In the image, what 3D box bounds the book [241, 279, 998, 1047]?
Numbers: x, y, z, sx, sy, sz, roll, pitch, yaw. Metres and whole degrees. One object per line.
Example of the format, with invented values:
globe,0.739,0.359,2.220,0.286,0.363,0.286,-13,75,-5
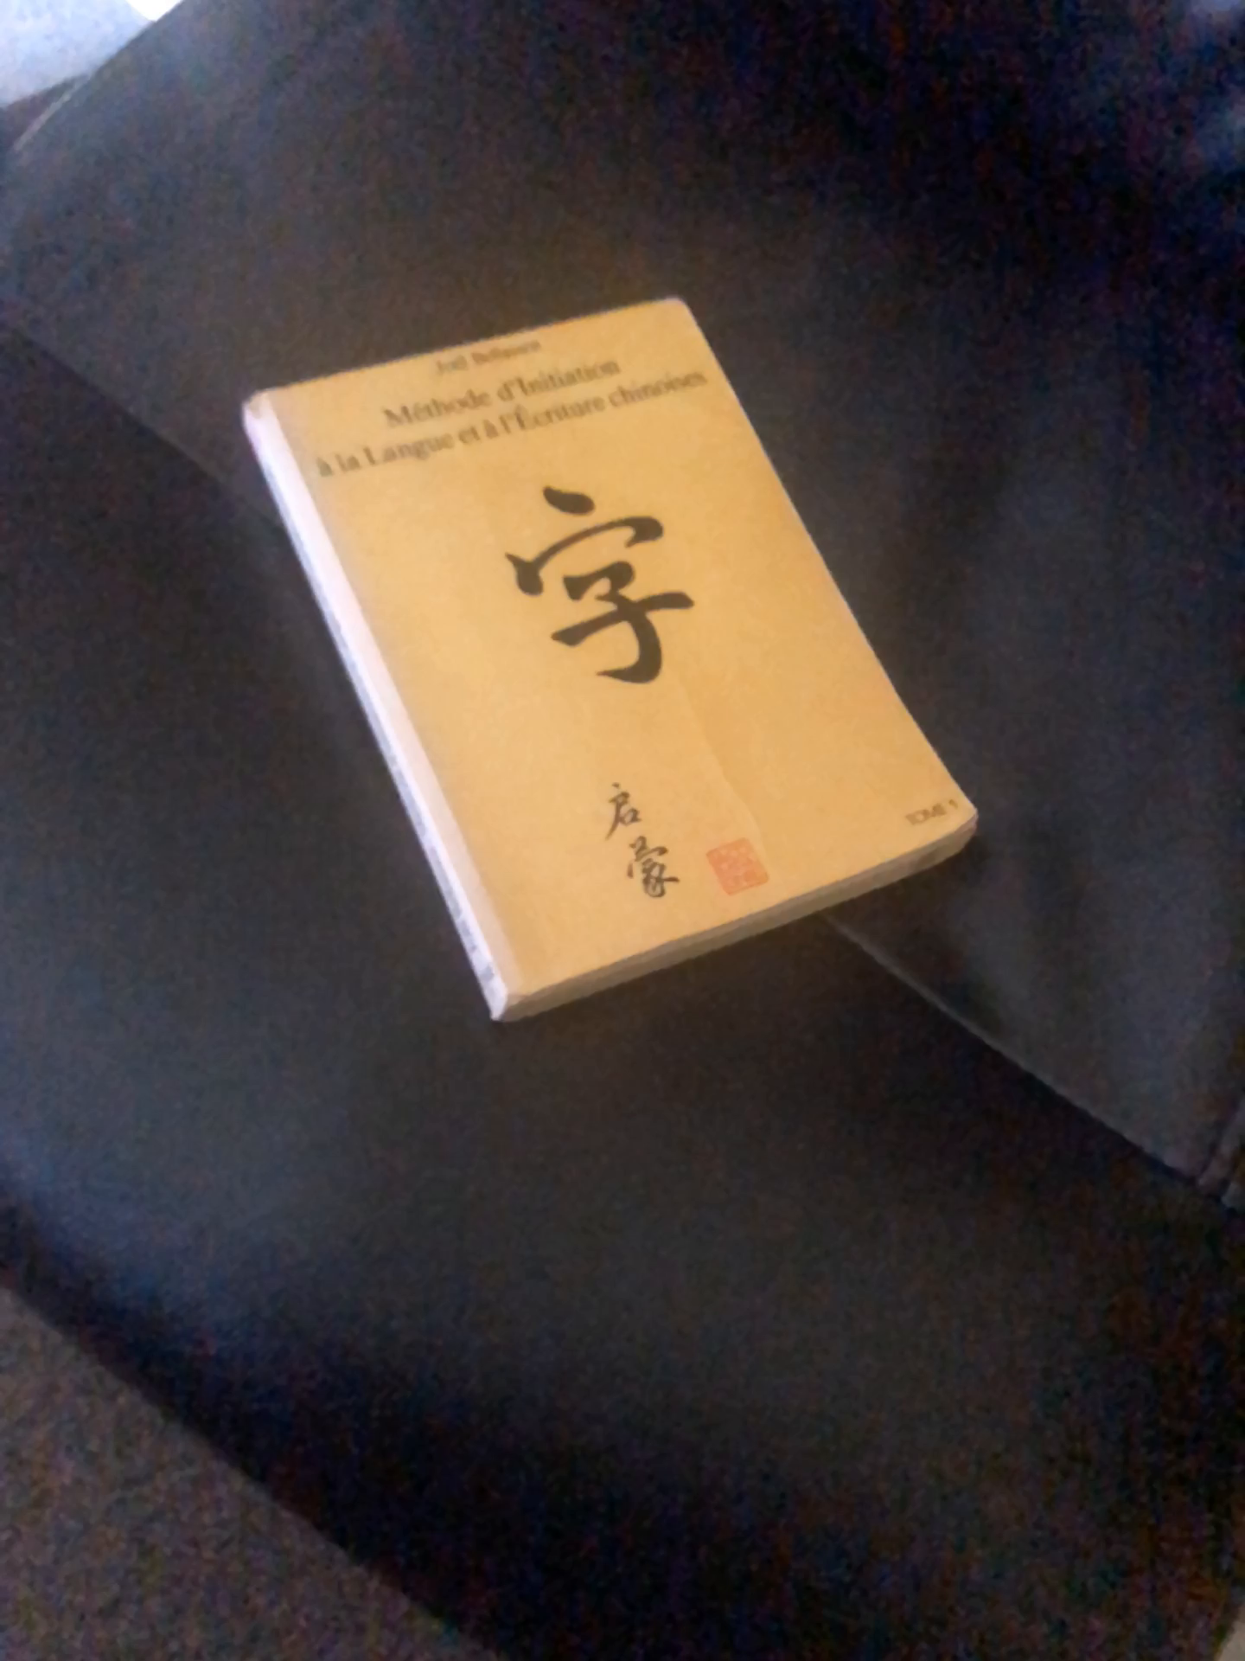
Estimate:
book,-0.008,-0.064,0.425,0.152,0.028,0.220,-19,67,-14
